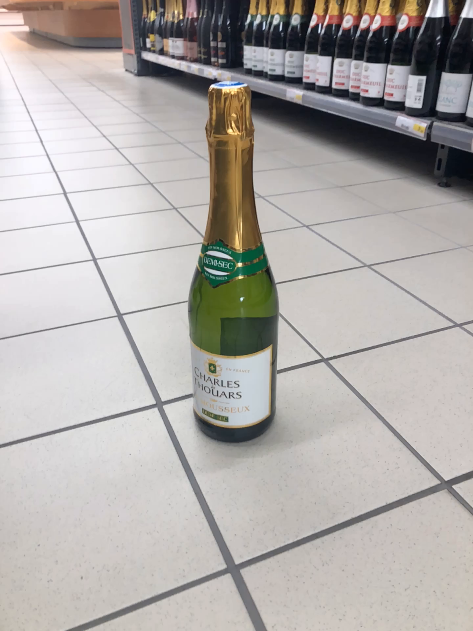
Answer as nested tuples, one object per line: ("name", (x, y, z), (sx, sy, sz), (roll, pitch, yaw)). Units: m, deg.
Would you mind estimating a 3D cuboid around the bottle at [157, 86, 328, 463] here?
("bottle", (0.006, -0.030, 0.449), (0.090, 0.298, 0.091), (0, 28, 0))
